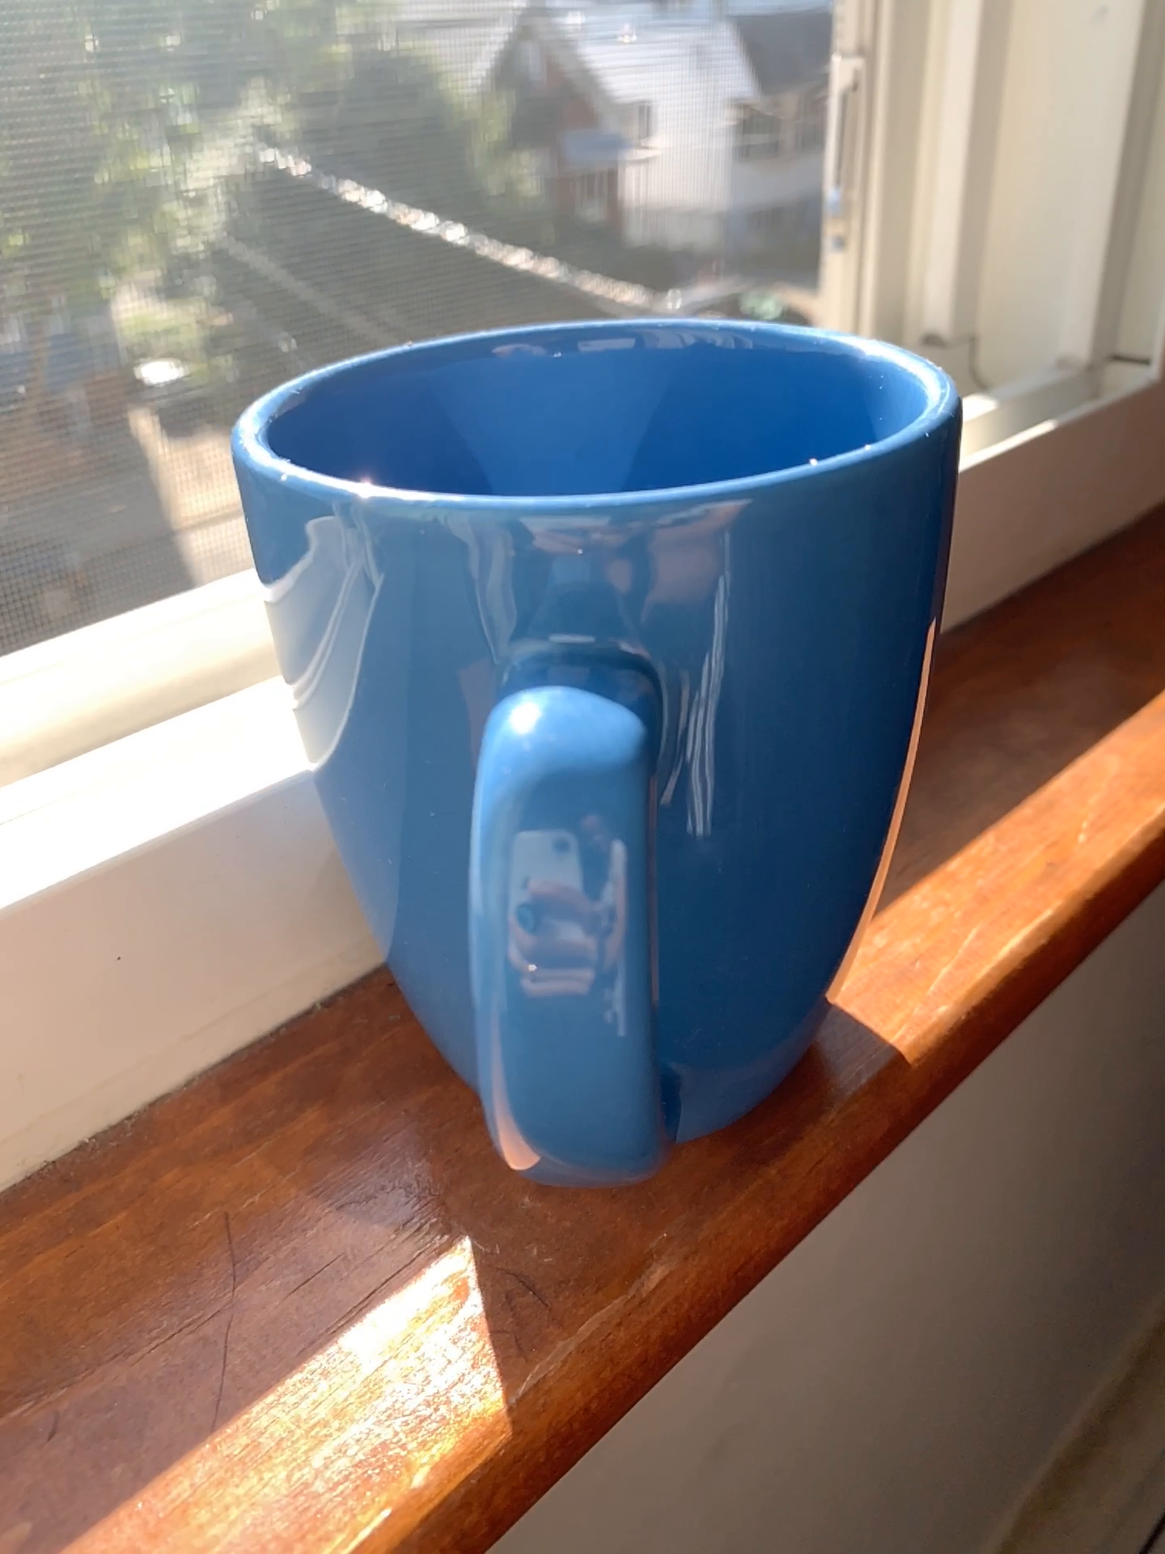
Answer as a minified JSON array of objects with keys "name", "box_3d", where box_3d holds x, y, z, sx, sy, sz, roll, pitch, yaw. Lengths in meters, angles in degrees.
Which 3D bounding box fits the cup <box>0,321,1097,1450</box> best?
[{"name":"cup","box_3d":[0.002,0.001,0.162,0.081,0.095,0.114,2,31,6]}]
